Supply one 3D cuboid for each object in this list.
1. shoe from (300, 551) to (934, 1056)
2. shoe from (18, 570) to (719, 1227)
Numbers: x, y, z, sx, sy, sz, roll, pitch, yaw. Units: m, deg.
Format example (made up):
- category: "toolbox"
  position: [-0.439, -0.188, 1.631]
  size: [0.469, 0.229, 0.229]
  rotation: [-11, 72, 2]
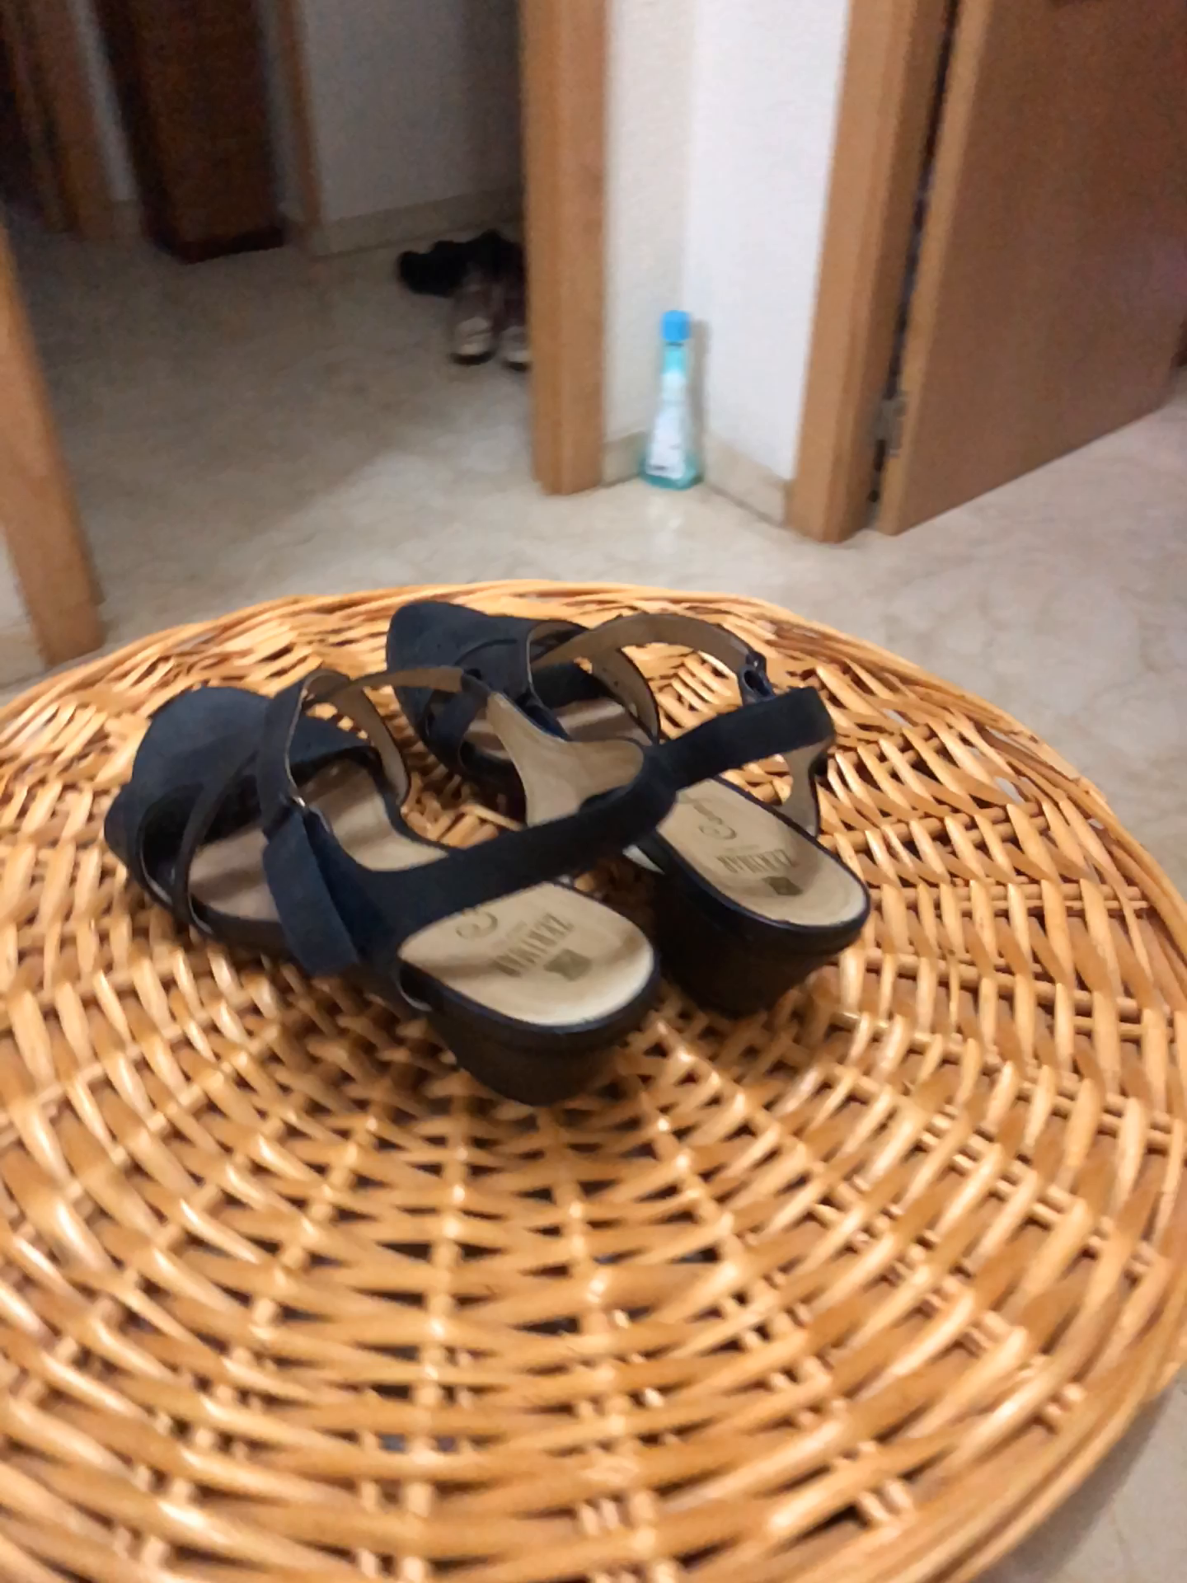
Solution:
- category: "shoe"
  position: [-0.009, -0.016, 0.480]
  size: [0.100, 0.092, 0.247]
  rotation: [-14, 26, -32]
- category: "shoe"
  position: [-0.082, 0.015, 0.428]
  size: [0.090, 0.088, 0.248]
  rotation: [-30, 40, -32]
